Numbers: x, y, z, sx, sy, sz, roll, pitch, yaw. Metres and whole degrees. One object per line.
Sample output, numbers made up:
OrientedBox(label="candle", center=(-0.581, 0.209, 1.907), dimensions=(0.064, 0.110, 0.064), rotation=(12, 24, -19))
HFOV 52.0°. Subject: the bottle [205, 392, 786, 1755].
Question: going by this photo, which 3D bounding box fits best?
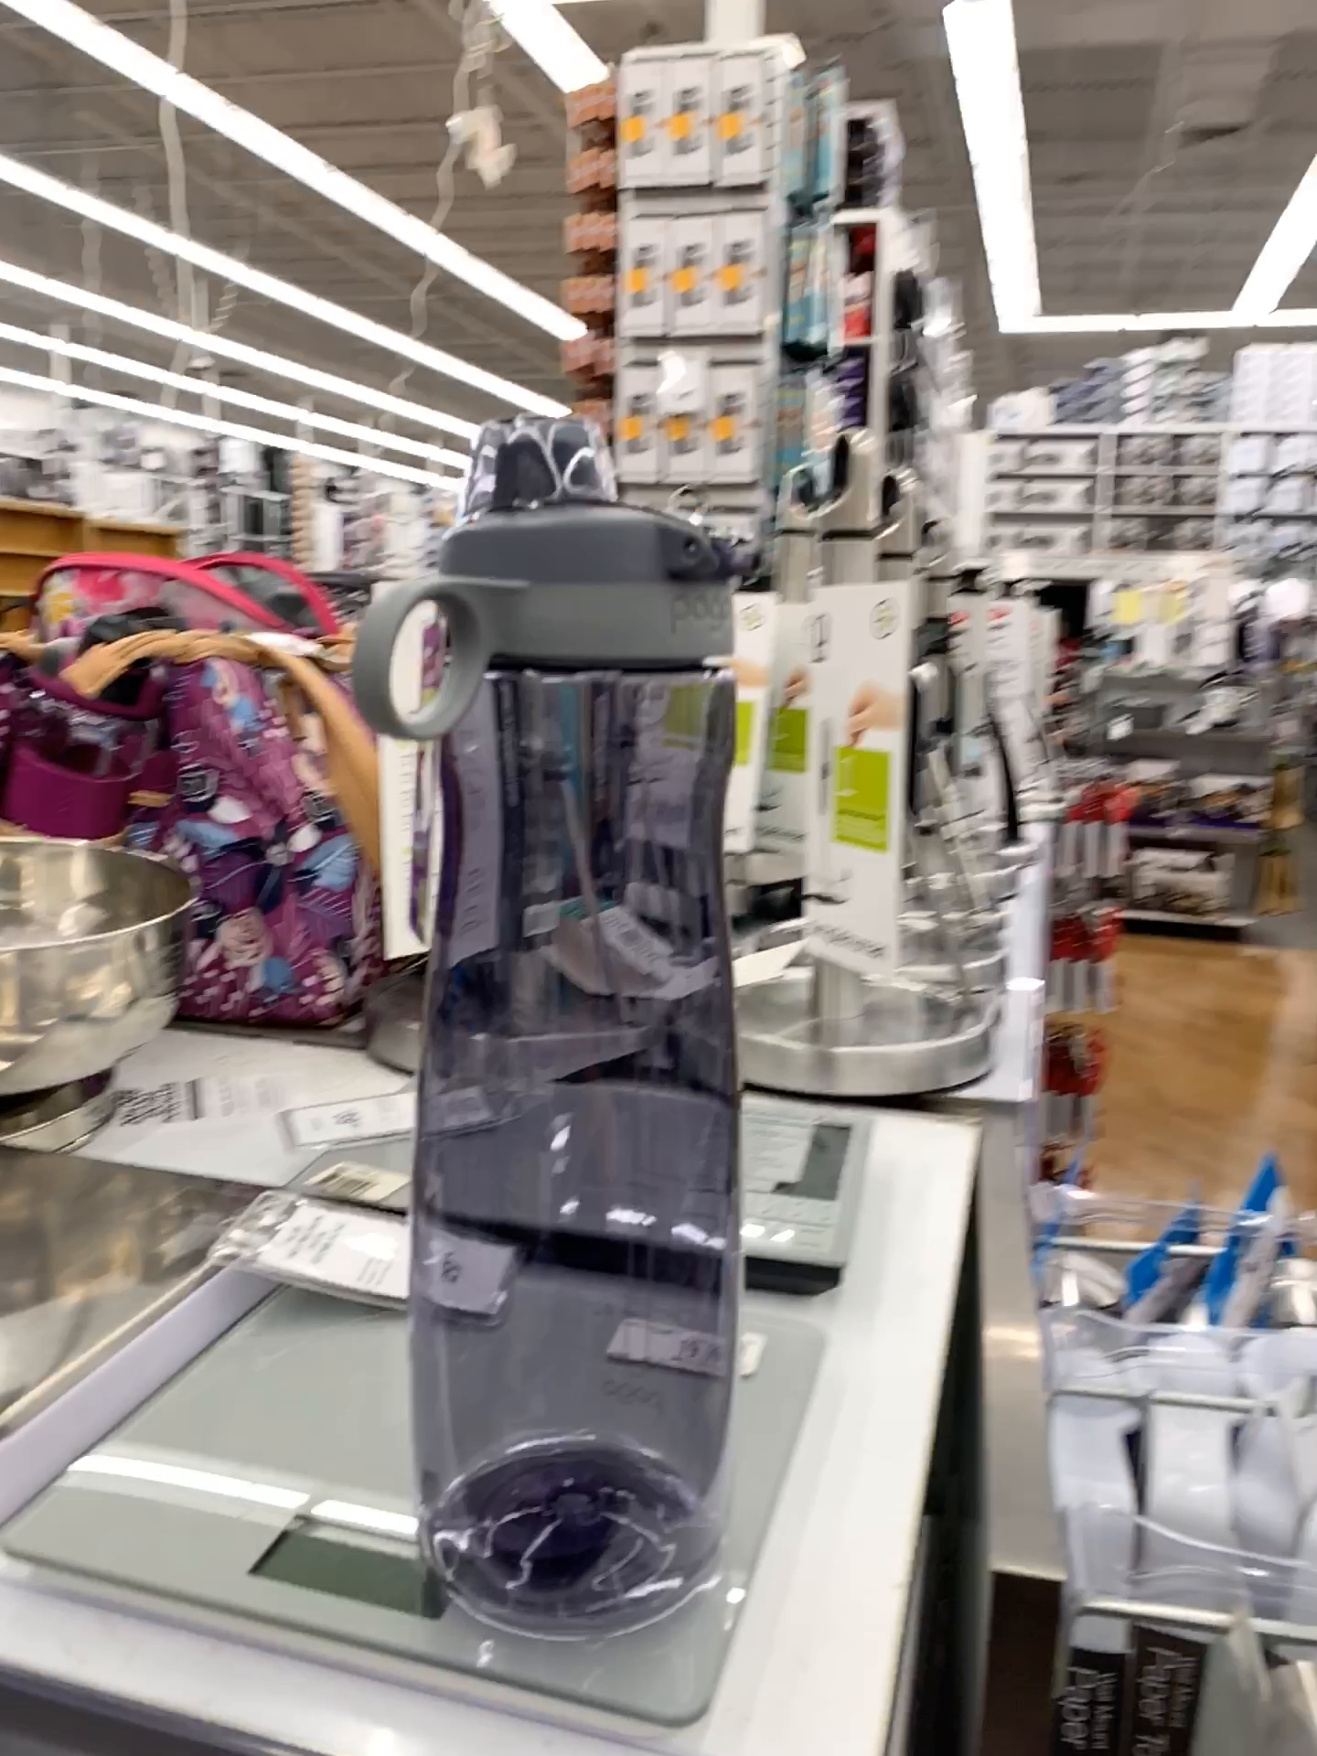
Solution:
OrientedBox(label="bottle", center=(-0.038, 0.047, 0.346), dimensions=(0.100, 0.309, 0.100), rotation=(2, 10, 0))
